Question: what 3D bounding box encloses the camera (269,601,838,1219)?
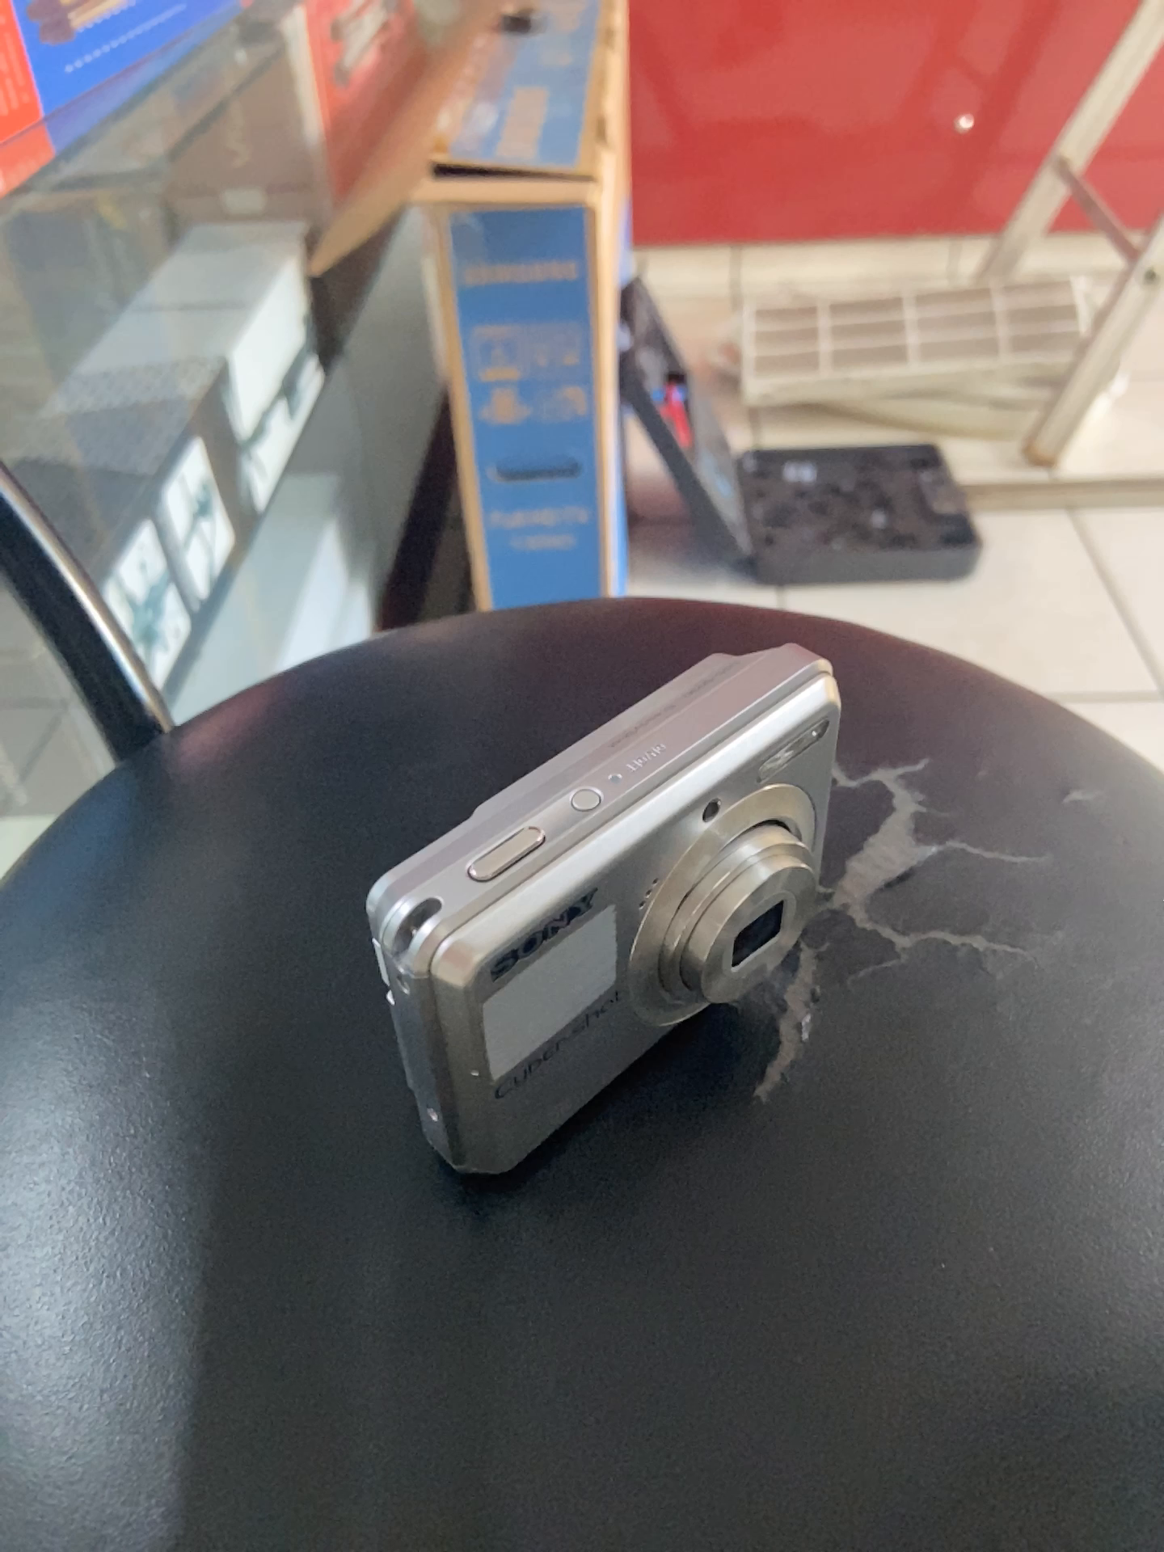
[{"bbox_3d":[0.000,0.019,0.201,0.083,0.057,0.035,-33,49,-30],"label":"camera"}]
